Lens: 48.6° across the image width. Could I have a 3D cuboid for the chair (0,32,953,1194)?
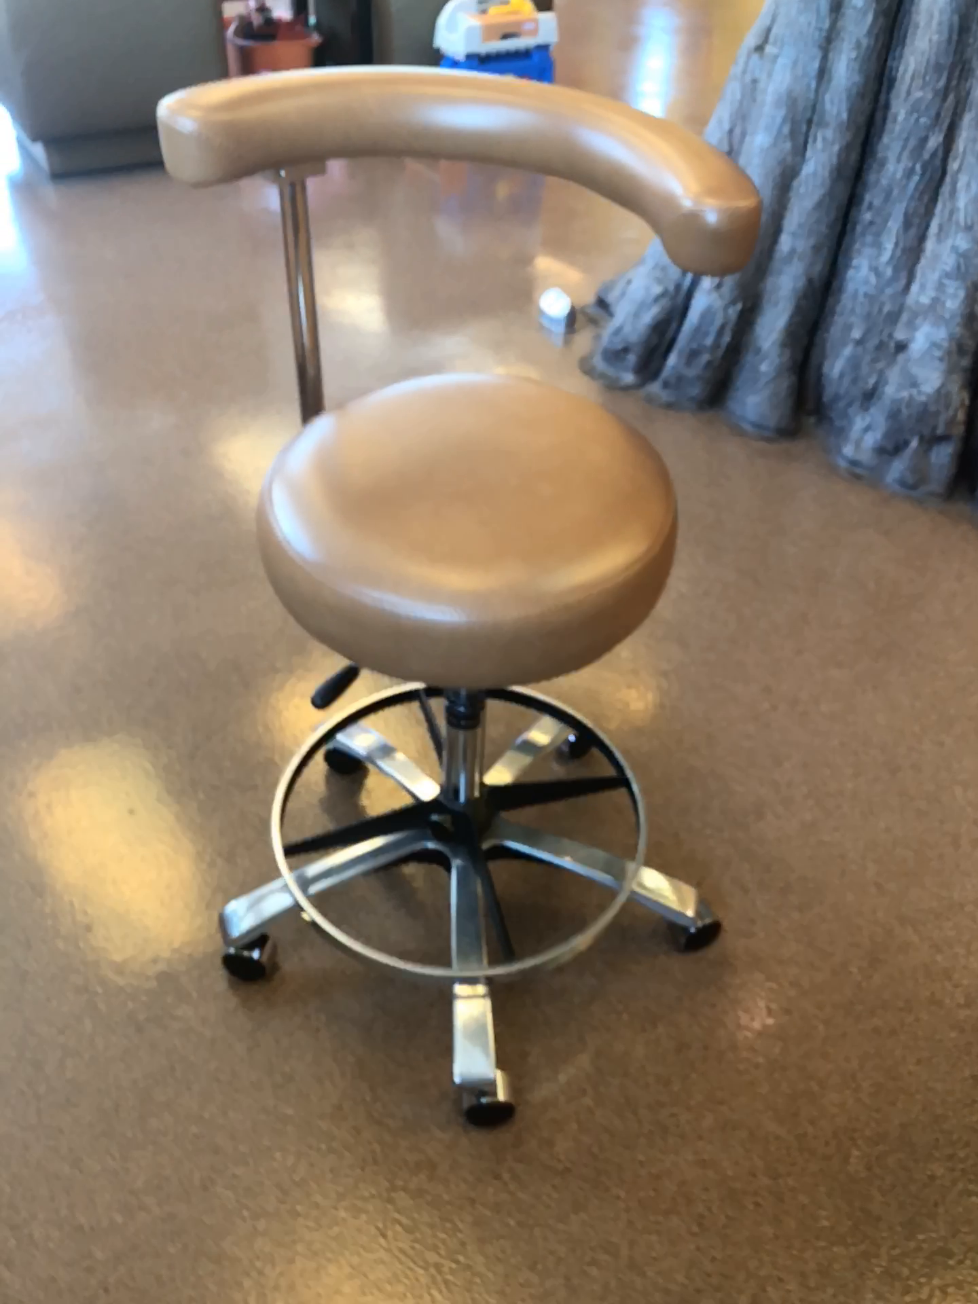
[{"bbox_3d":[-0.005,-0.047,1.040,0.611,0.804,0.593,14,42,13],"label":"chair"}]
